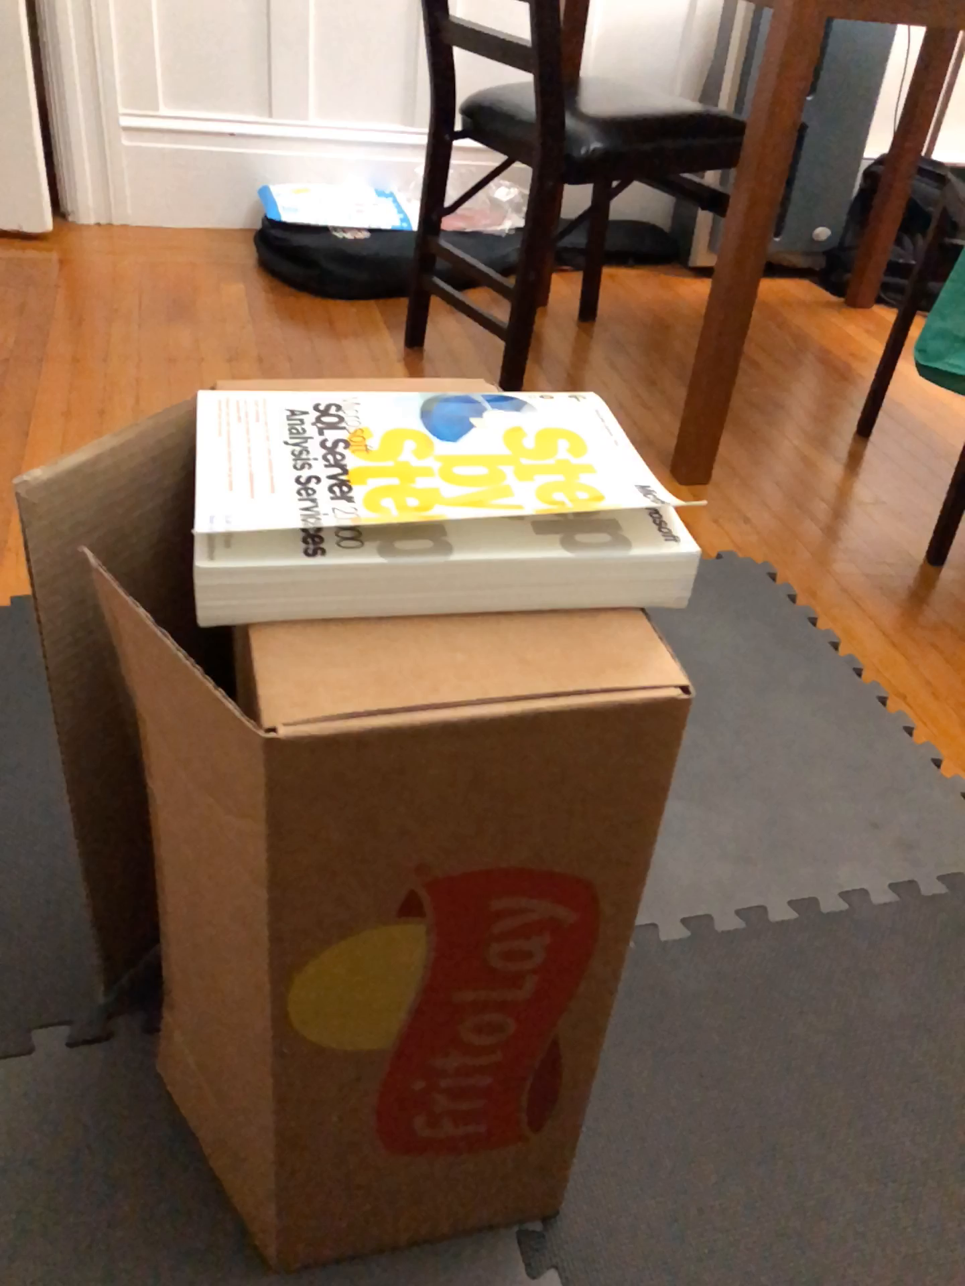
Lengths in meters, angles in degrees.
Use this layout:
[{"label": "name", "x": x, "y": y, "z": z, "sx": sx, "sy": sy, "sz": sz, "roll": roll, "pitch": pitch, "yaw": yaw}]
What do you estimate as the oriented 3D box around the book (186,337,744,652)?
[{"label": "book", "x": -0.023, "y": -0.089, "z": 0.540, "sx": 0.240, "sy": 0.050, "sz": 0.201, "roll": -5, "pitch": 40, "yaw": -13}]
